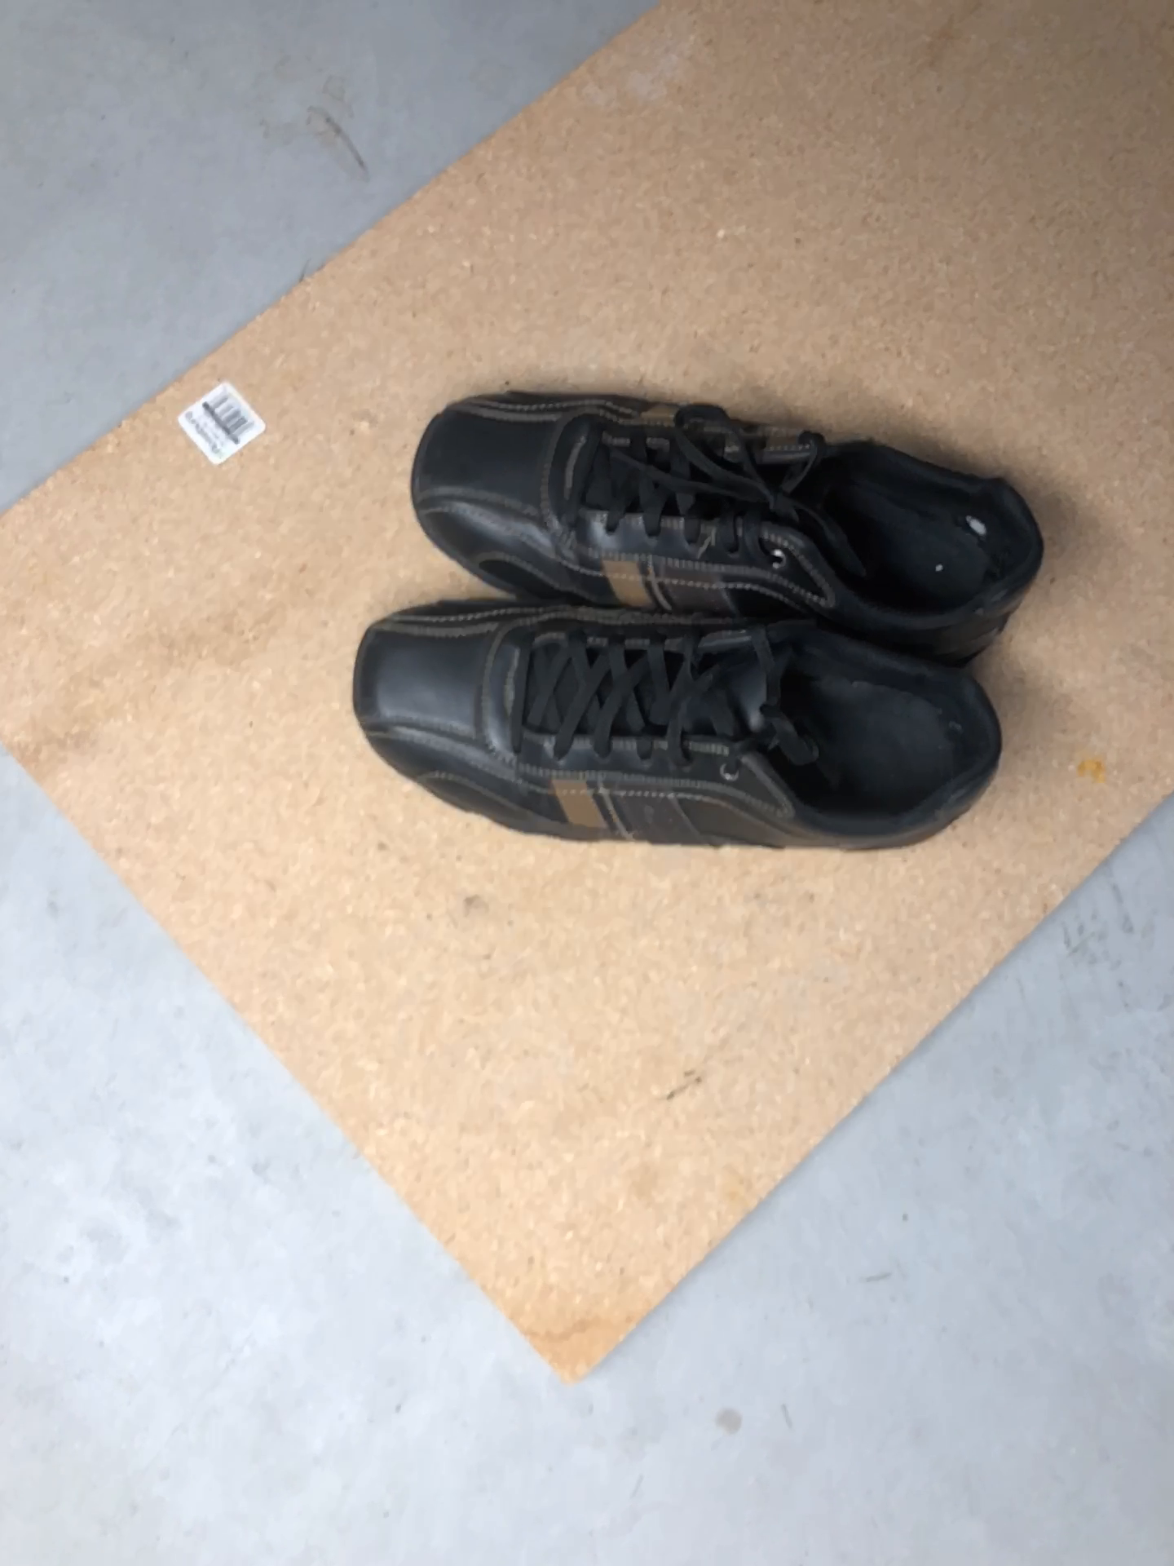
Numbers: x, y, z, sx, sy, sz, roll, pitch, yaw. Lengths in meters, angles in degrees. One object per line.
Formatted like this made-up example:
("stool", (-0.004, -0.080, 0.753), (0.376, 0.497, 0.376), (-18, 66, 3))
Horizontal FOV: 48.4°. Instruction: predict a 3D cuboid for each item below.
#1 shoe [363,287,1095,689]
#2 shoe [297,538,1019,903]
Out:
("shoe", (0.058, -0.123, 0.586), (0.290, 0.100, 0.100), (11, 88, -4))
("shoe", (0.032, -0.024, 0.612), (0.300, 0.100, 0.100), (10, 78, 0))
